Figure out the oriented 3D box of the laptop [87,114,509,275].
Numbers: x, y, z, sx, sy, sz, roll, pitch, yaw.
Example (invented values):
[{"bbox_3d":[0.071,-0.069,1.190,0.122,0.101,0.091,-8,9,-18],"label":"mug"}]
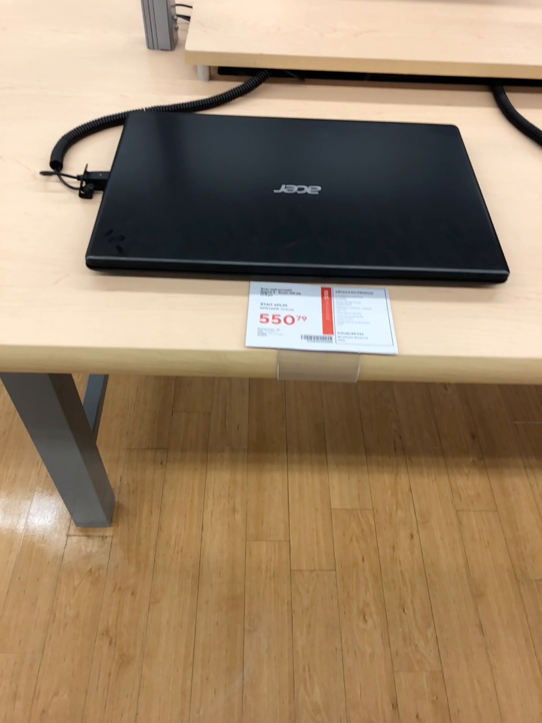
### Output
[{"bbox_3d":[0.027,-0.199,0.669,0.416,0.001,0.268,2,51,-1],"label":"laptop"}]
